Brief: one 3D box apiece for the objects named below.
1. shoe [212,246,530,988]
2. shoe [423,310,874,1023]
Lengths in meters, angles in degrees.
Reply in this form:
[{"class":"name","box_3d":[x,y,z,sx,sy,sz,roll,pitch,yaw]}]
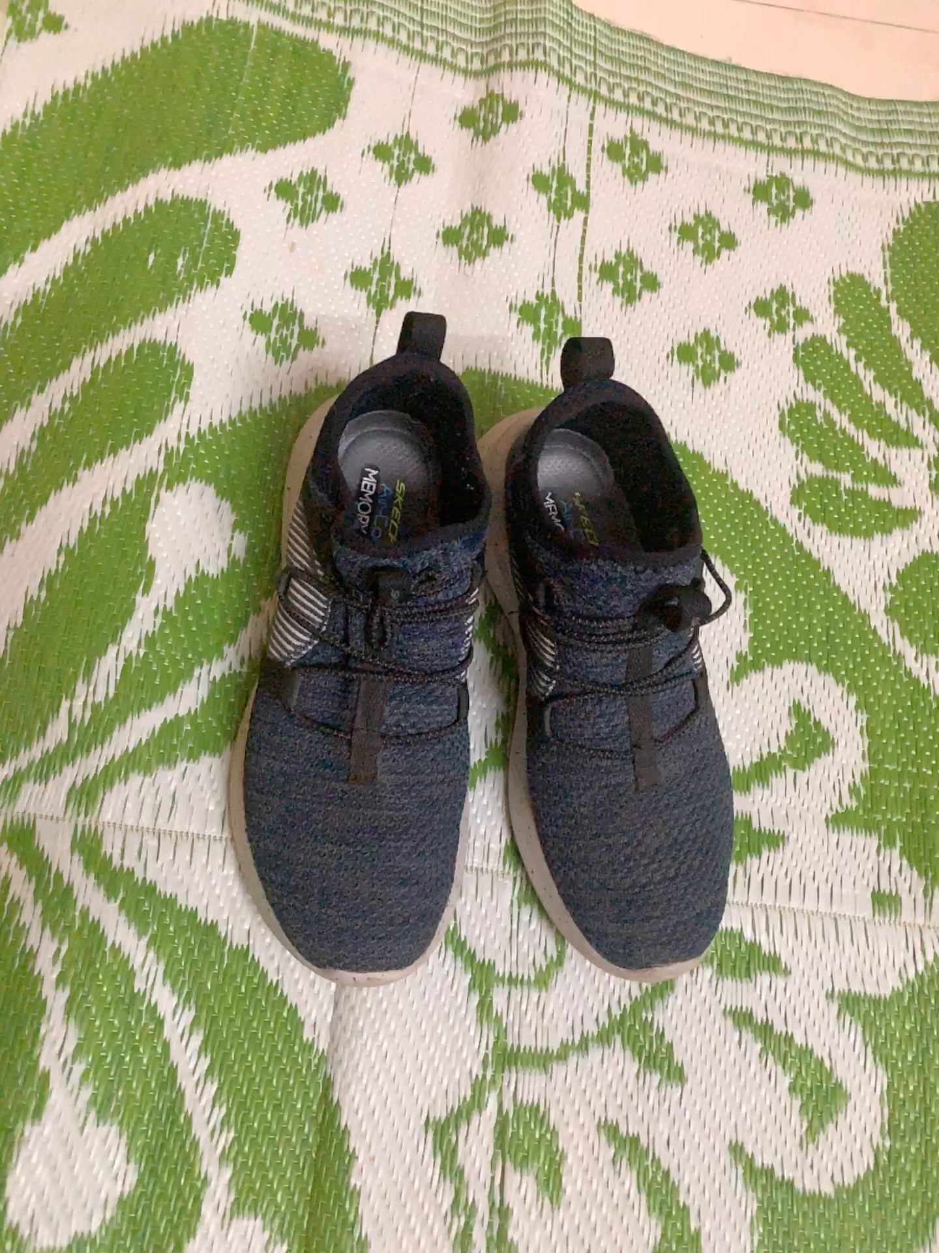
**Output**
[{"class":"shoe","box_3d":[-0.043,-0.004,0.426,0.110,0.100,0.301,3,72,-10]},{"class":"shoe","box_3d":[0.065,0.012,0.443,0.110,0.100,0.291,-8,74,-13]}]
